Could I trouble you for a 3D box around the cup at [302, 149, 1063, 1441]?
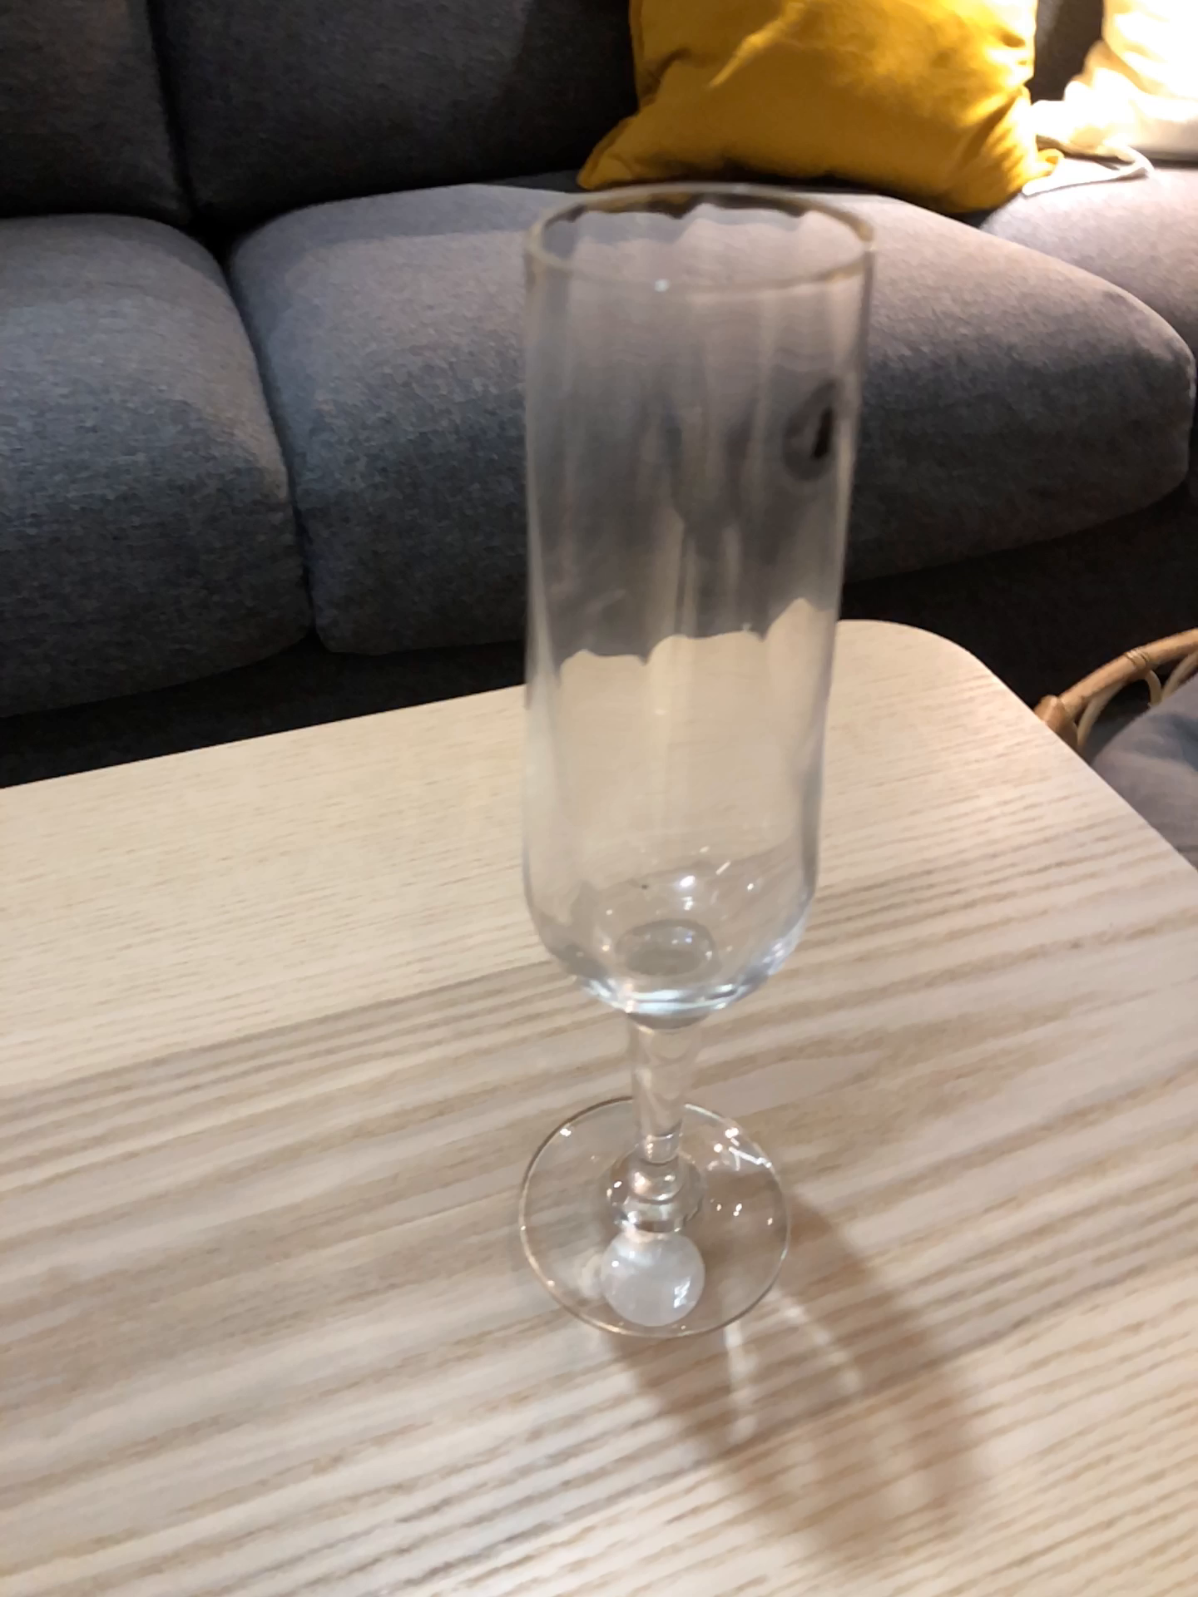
[{"bbox_3d":[0.015,0.015,0.263,0.080,0.239,0.080,0,39,0],"label":"cup"}]
